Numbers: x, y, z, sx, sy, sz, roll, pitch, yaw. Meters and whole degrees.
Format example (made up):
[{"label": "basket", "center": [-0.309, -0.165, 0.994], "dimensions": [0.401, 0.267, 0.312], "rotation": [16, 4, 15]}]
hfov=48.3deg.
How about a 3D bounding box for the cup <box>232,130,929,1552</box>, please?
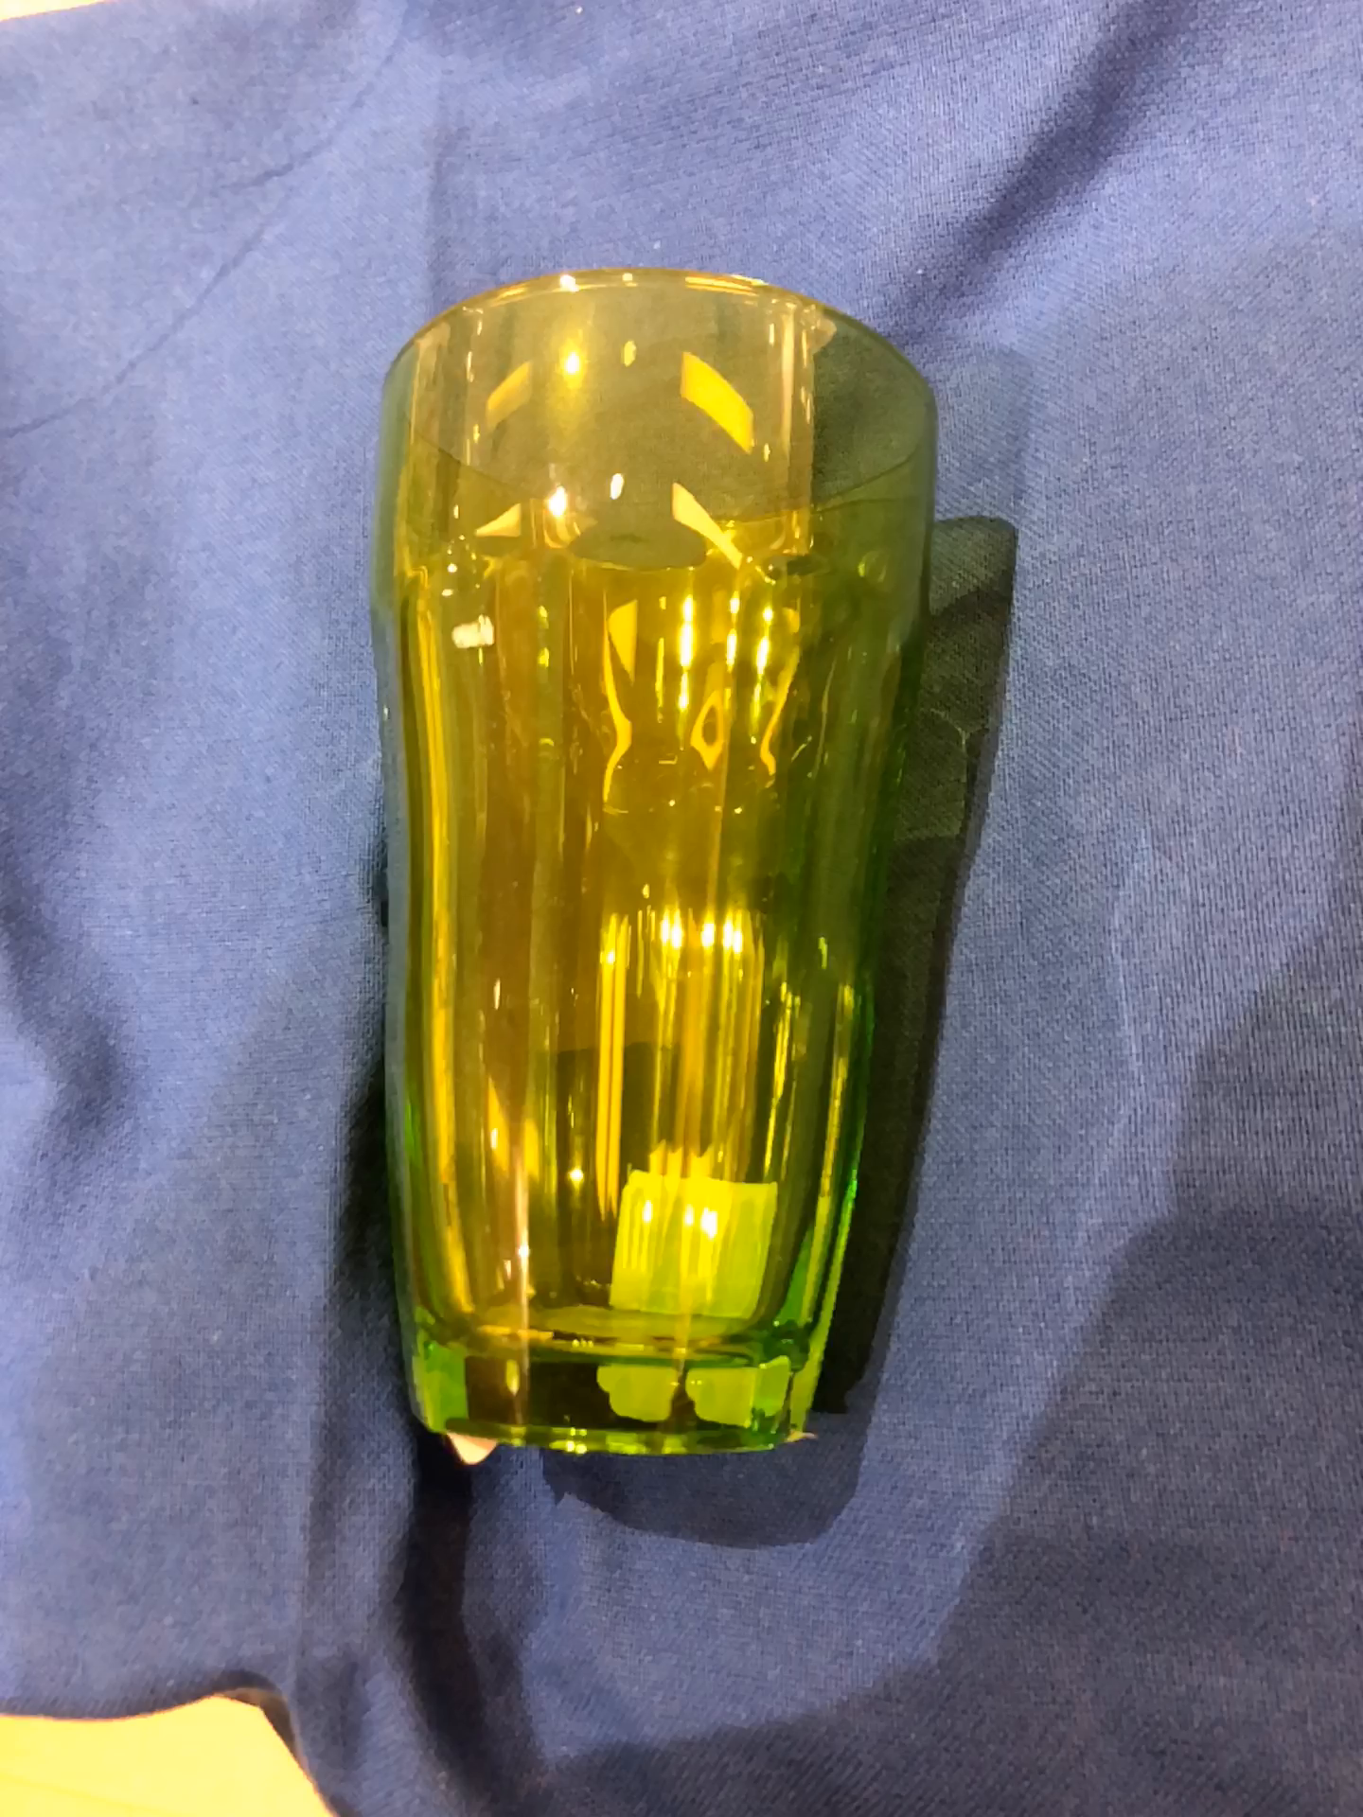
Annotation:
[{"label": "cup", "center": [-0.006, -0.007, 0.207], "dimensions": [0.070, 0.070, 0.160], "rotation": [-2, 78, 13]}]
